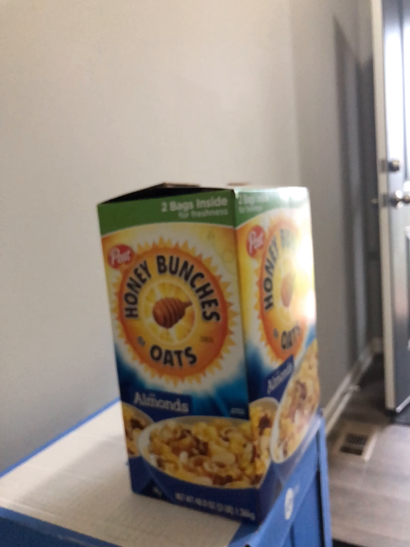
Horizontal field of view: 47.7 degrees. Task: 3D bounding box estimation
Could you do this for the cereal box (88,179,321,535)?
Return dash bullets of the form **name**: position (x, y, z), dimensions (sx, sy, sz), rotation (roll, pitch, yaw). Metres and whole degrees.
- **cereal box**: position (0.017, 0.060, 0.499), dimensions (0.150, 0.300, 0.200), rotation (-1, 9, 28)
